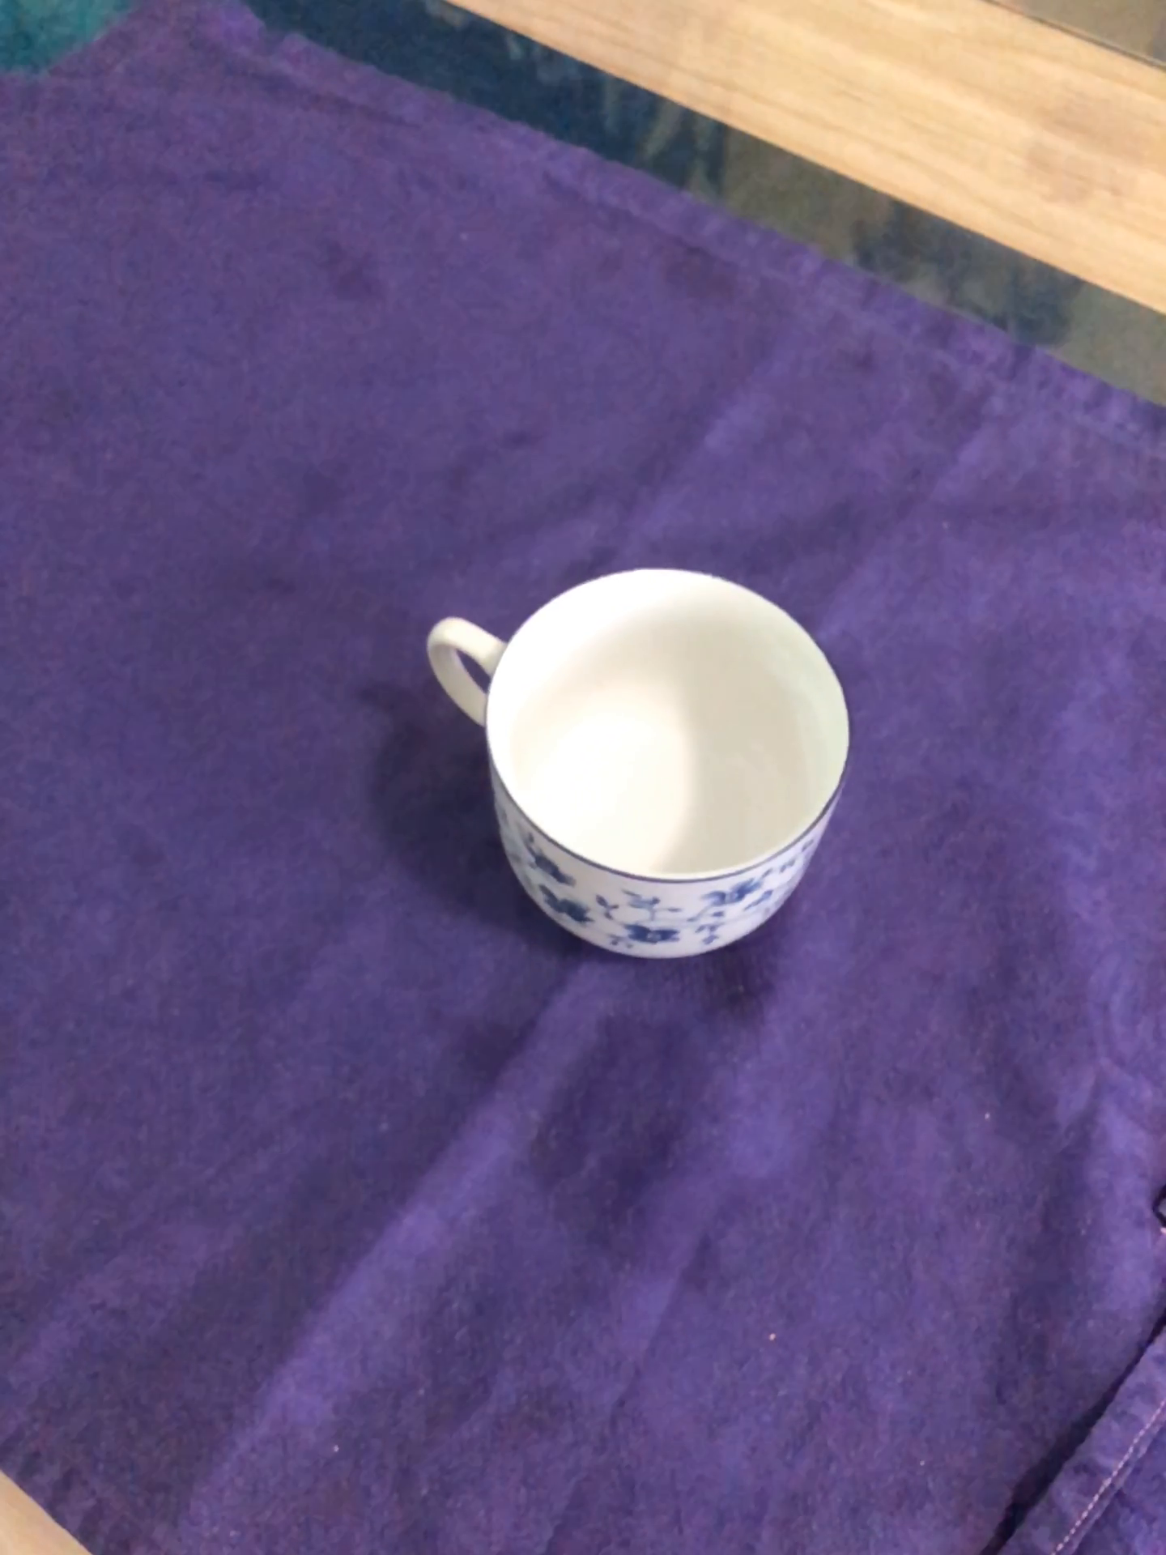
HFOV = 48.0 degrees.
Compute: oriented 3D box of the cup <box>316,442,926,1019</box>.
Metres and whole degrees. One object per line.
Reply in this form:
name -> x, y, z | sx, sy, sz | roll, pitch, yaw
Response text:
cup -> 0.008, -0.010, 0.288 | 0.100, 0.060, 0.070 | 28, 66, 13
